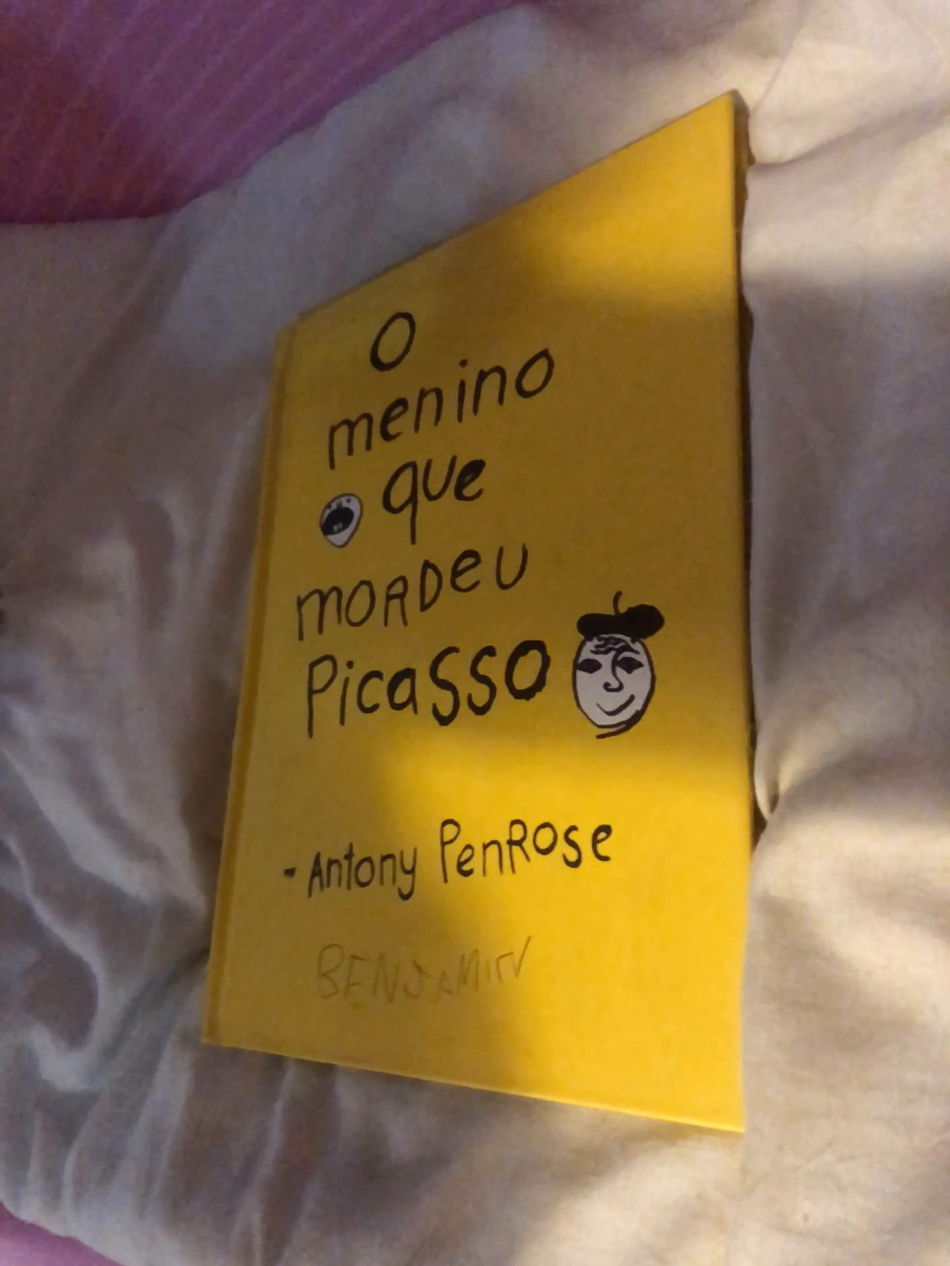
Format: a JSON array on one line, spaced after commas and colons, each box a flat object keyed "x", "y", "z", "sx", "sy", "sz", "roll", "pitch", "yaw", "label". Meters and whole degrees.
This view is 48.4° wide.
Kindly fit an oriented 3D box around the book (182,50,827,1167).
[{"x": -0.003, "y": -0.007, "z": 0.284, "sx": 0.181, "sy": 0.024, "sz": 0.240, "roll": -11, "pitch": 69, "yaw": 40, "label": "book"}]
